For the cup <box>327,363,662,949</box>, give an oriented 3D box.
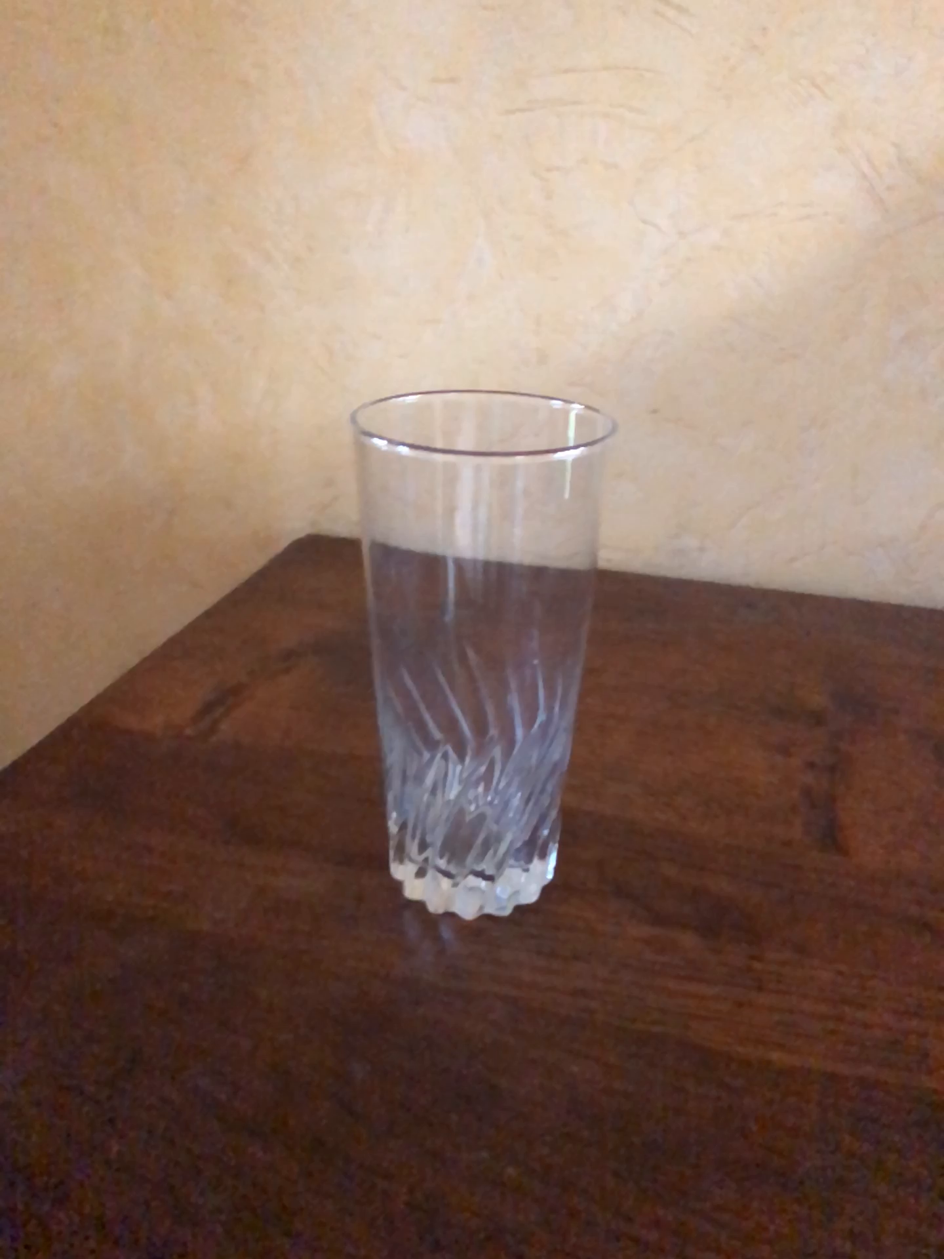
[{"bbox_3d":[0.001,0.005,0.307,0.070,0.149,0.070,1,24,0],"label":"cup"}]
